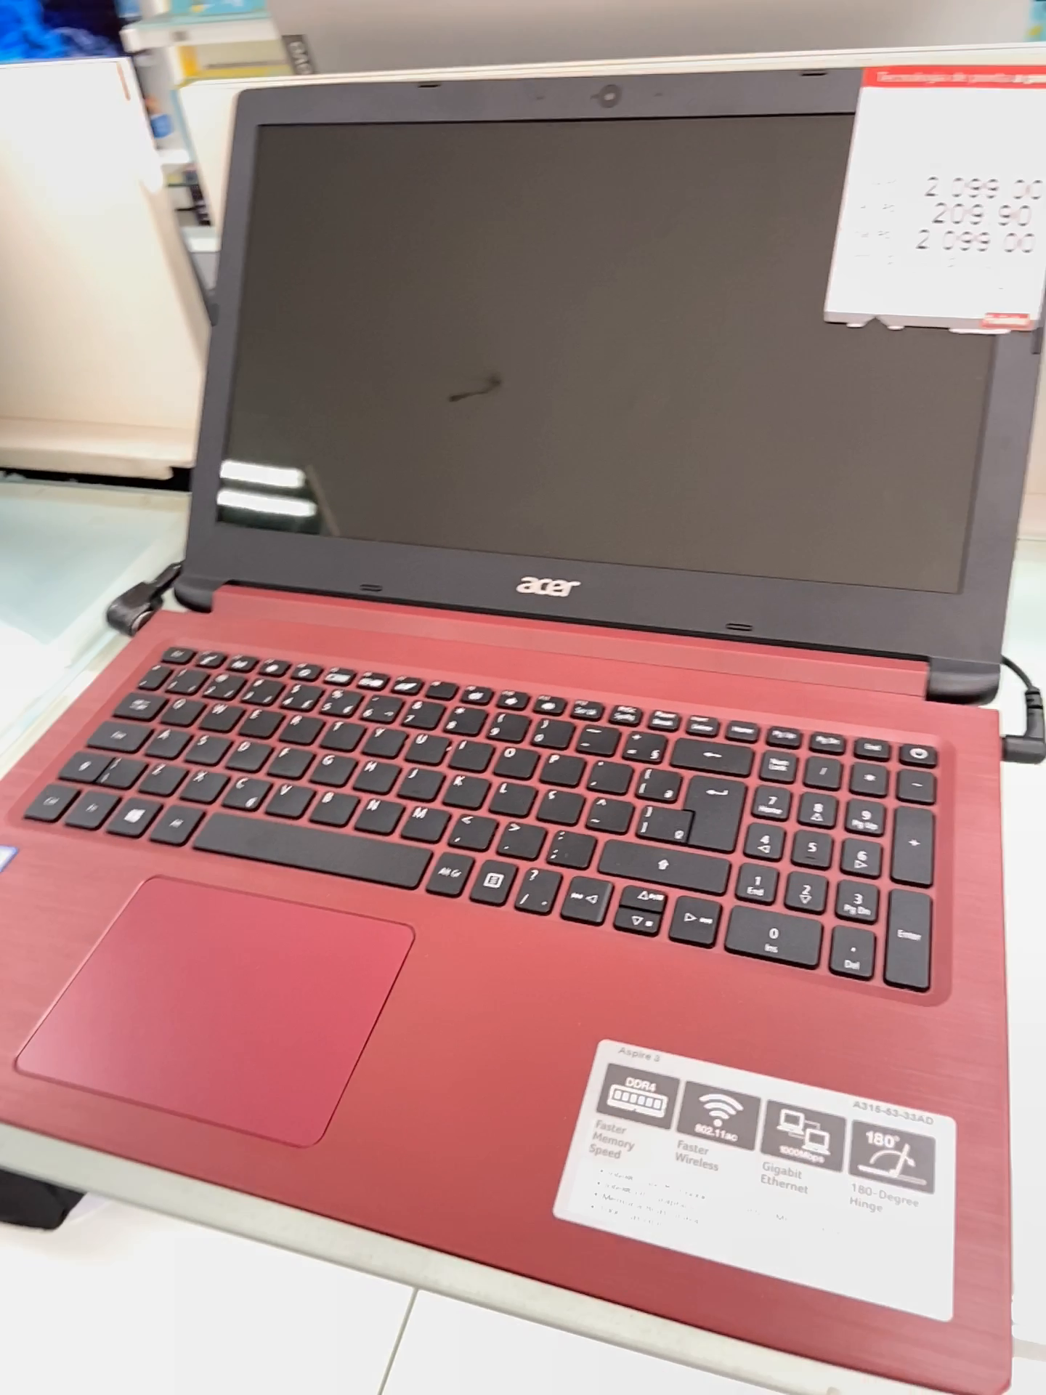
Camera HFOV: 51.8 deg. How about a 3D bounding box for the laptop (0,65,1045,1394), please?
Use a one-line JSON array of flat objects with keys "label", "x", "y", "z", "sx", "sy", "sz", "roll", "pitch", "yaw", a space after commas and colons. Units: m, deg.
[{"label": "laptop", "x": -0.016, "y": -0.070, "z": 0.402, "sx": 0.391, "sy": 0.193, "sz": 0.431, "roll": 7, "pitch": 42, "yaw": 17}]
